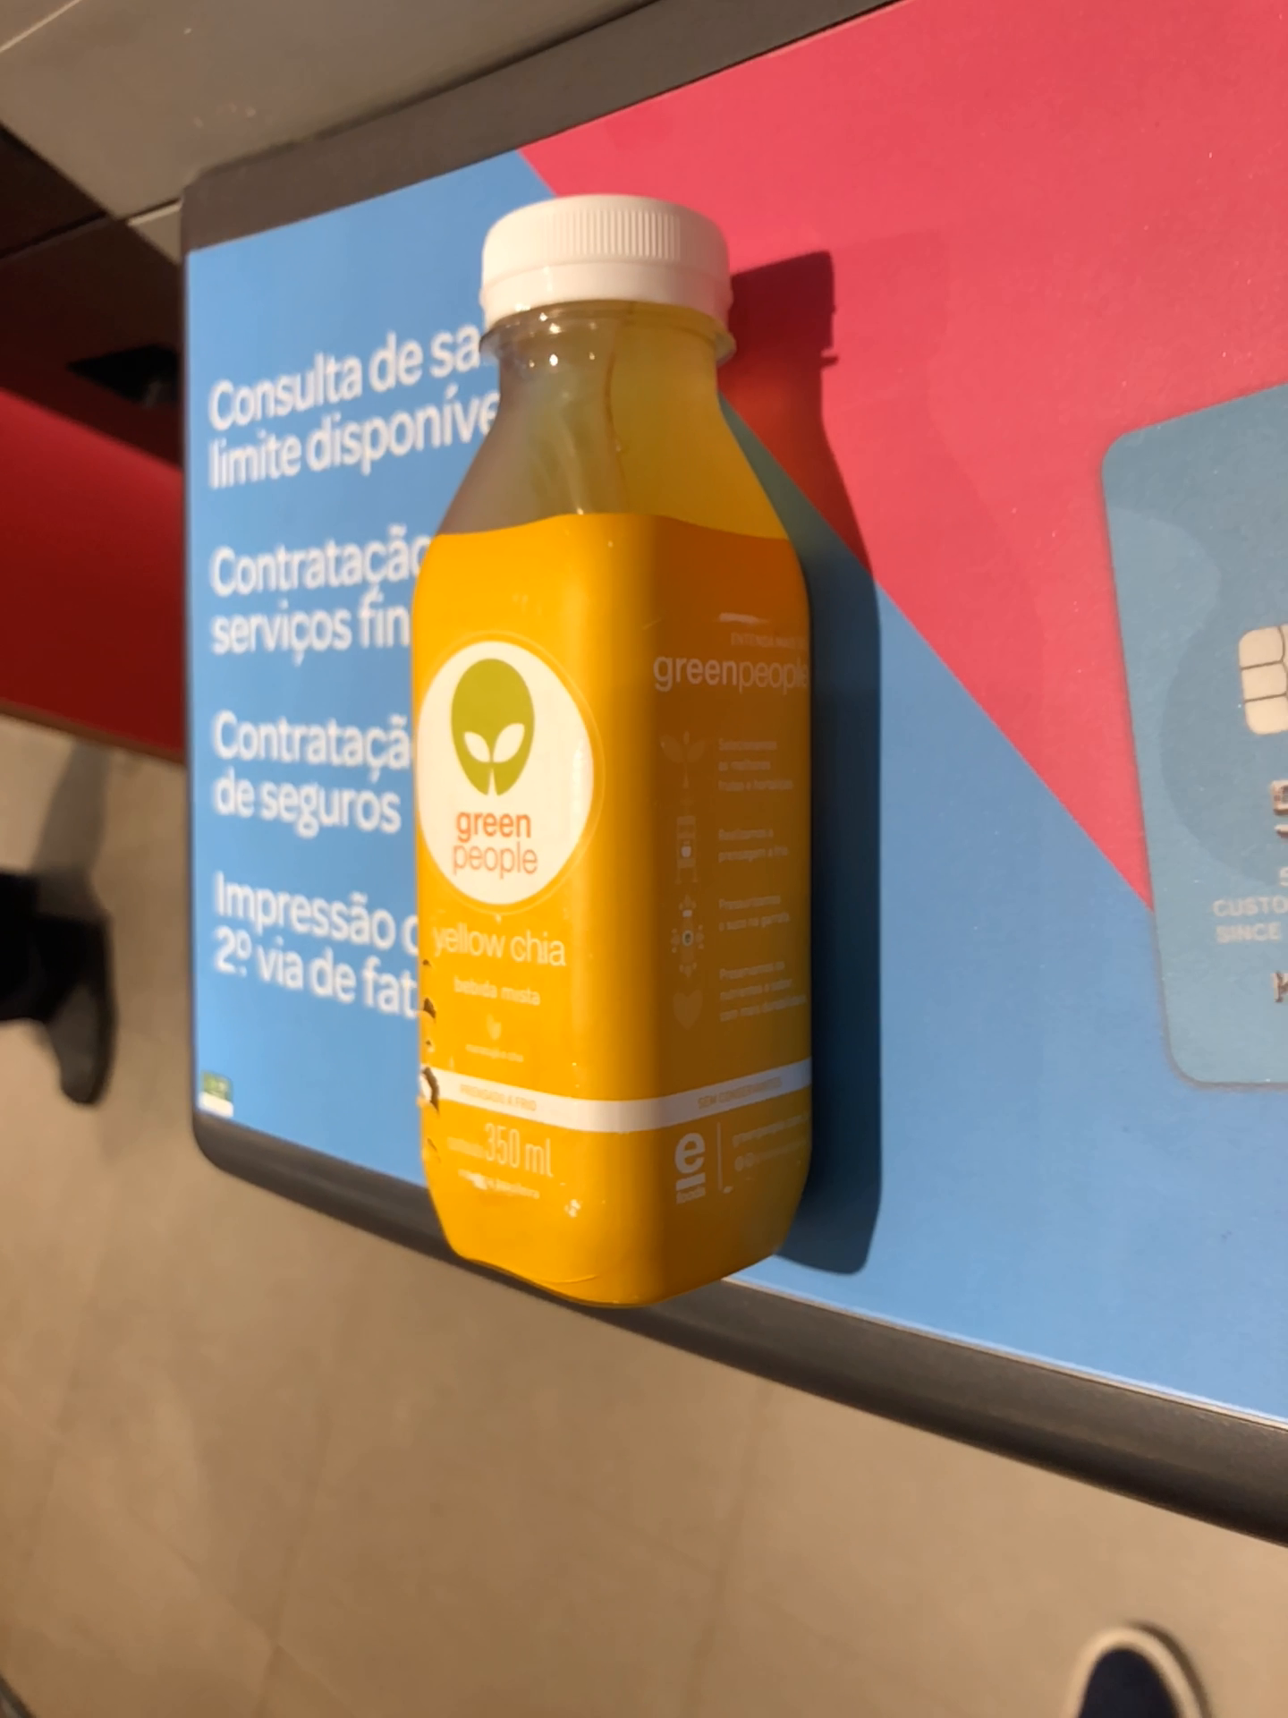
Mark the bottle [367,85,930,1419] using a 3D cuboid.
[{"bbox_3d":[-0.001,-0.015,0.238,0.060,0.060,0.180,8,97,44],"label":"bottle"}]
